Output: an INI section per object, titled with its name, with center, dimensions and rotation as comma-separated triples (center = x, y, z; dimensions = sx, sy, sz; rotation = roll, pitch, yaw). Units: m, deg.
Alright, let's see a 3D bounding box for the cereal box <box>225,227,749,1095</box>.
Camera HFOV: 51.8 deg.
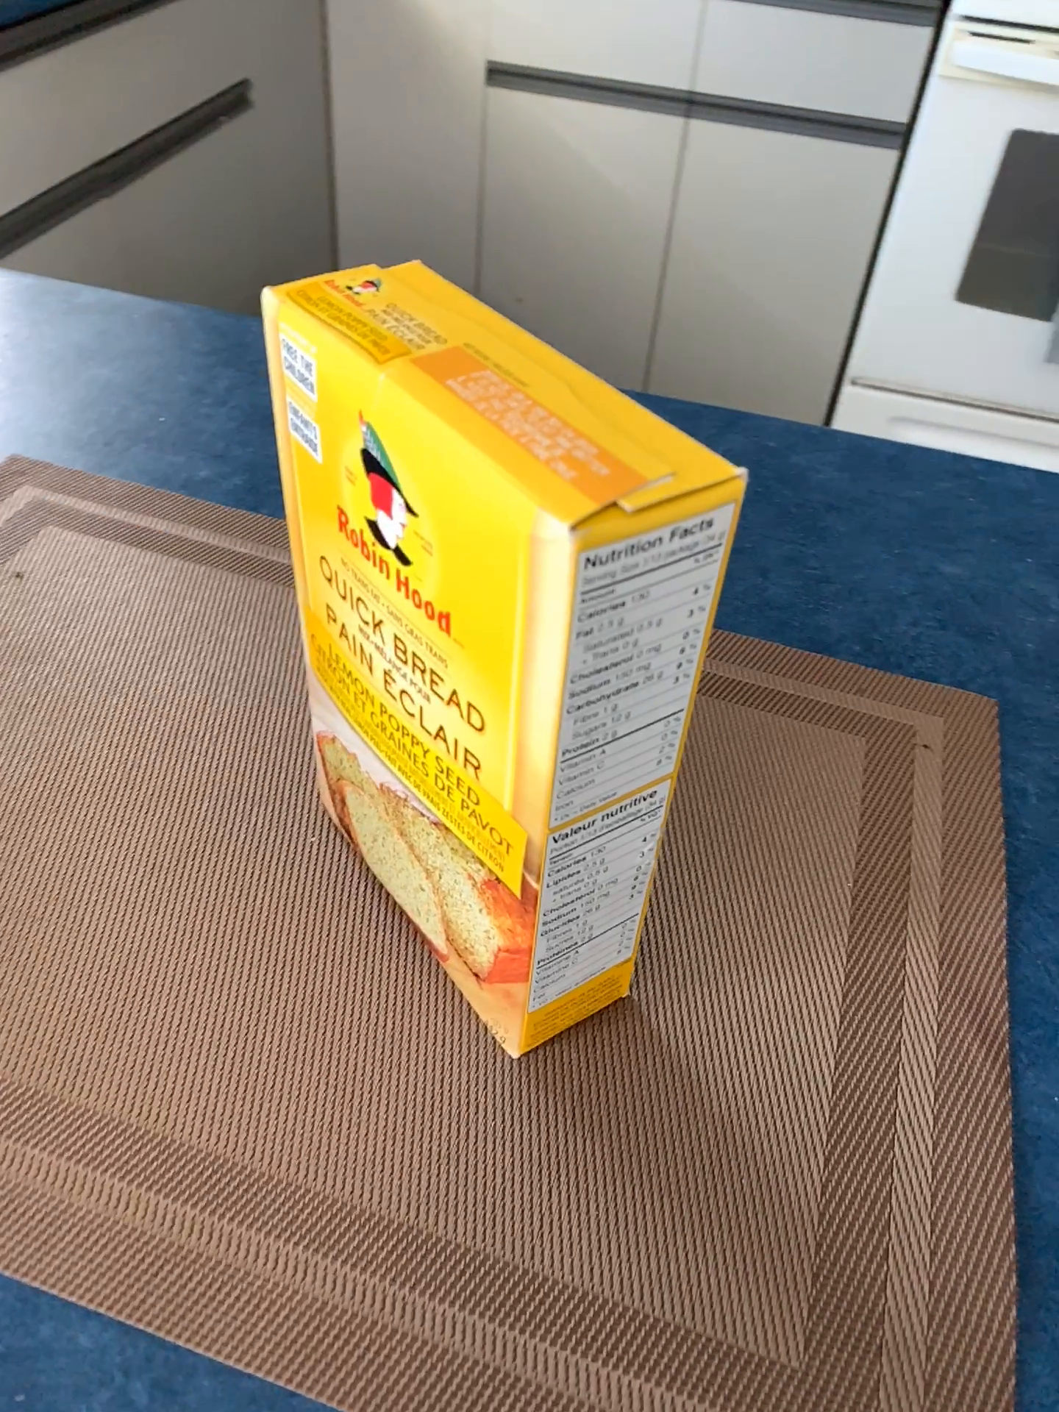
[cereal box]
center = -0.021, -0.006, 0.279
dimensions = 0.040, 0.178, 0.131
rotation = -23, 50, -27
